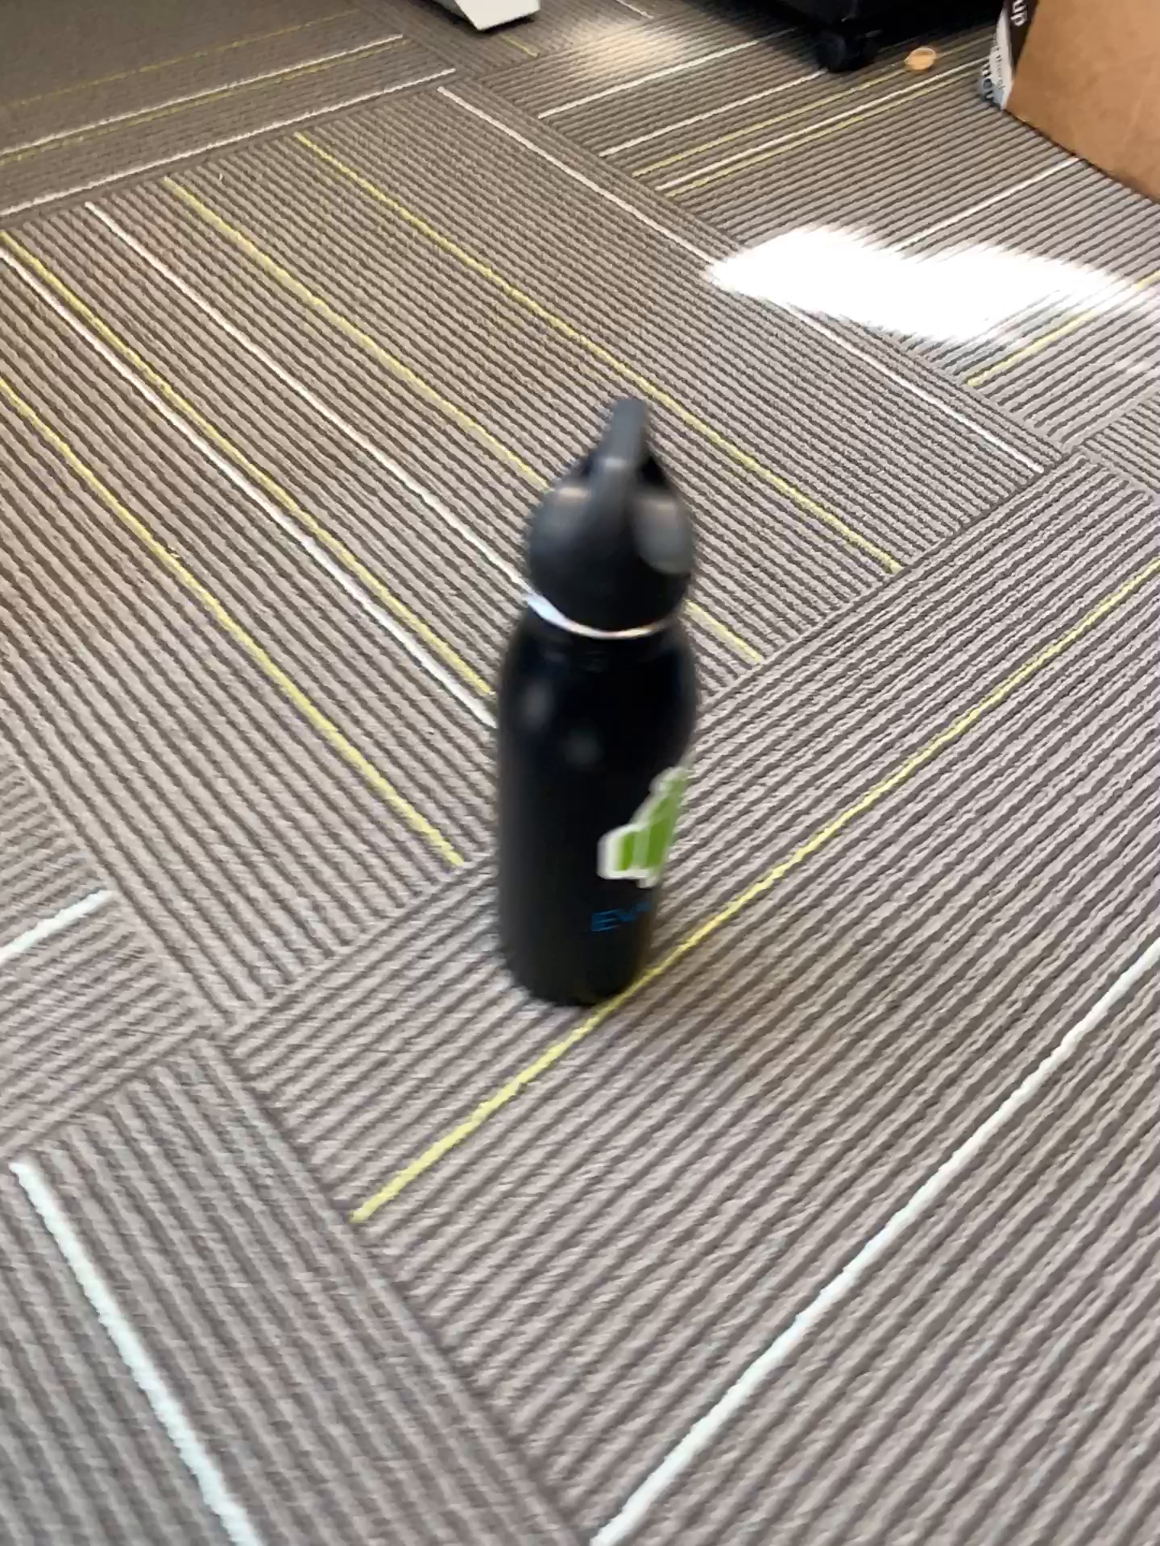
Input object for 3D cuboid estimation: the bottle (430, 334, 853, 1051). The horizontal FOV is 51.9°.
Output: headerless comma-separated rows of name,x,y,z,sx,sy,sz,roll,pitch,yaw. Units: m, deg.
bottle,0.012,-0.009,0.407,0.080,0.239,0.090,24,56,13
